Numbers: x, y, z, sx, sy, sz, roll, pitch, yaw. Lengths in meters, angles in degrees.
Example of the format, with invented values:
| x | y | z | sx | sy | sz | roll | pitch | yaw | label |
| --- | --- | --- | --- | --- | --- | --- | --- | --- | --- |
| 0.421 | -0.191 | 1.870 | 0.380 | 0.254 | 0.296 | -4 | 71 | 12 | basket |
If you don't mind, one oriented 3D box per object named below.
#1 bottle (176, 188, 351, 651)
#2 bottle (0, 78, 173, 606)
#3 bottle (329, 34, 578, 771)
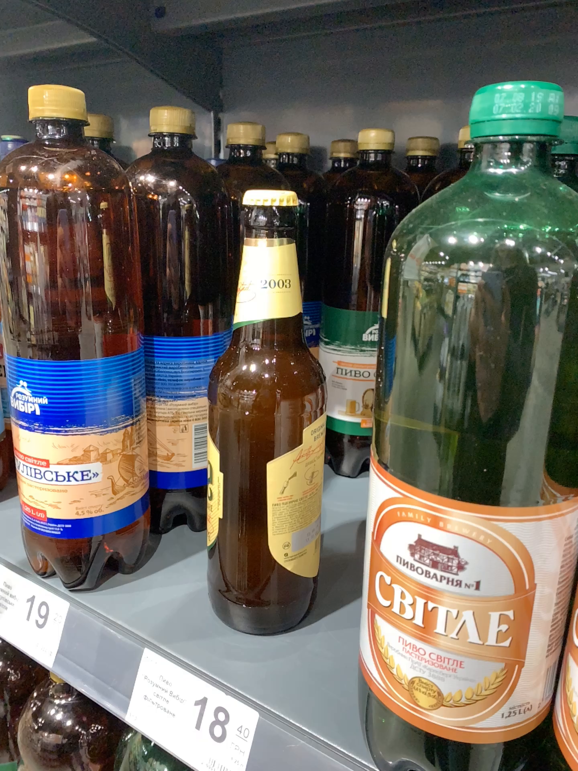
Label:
| x | y | z | sx | sy | sz | roll | pitch | yaw | label |
| --- | --- | --- | --- | --- | --- | --- | --- | --- | --- |
| -0.013 | 0.018 | 0.346 | 0.070 | 0.248 | 0.068 | 1 | 17 | 0 | bottle |
| -0.131 | -0.021 | 0.363 | 0.084 | 0.284 | 0.070 | 9 | 18 | 24 | bottle |
| 0.074 | 0.031 | 0.236 | 0.084 | 0.278 | 0.070 | 12 | 20 | 32 | bottle |
